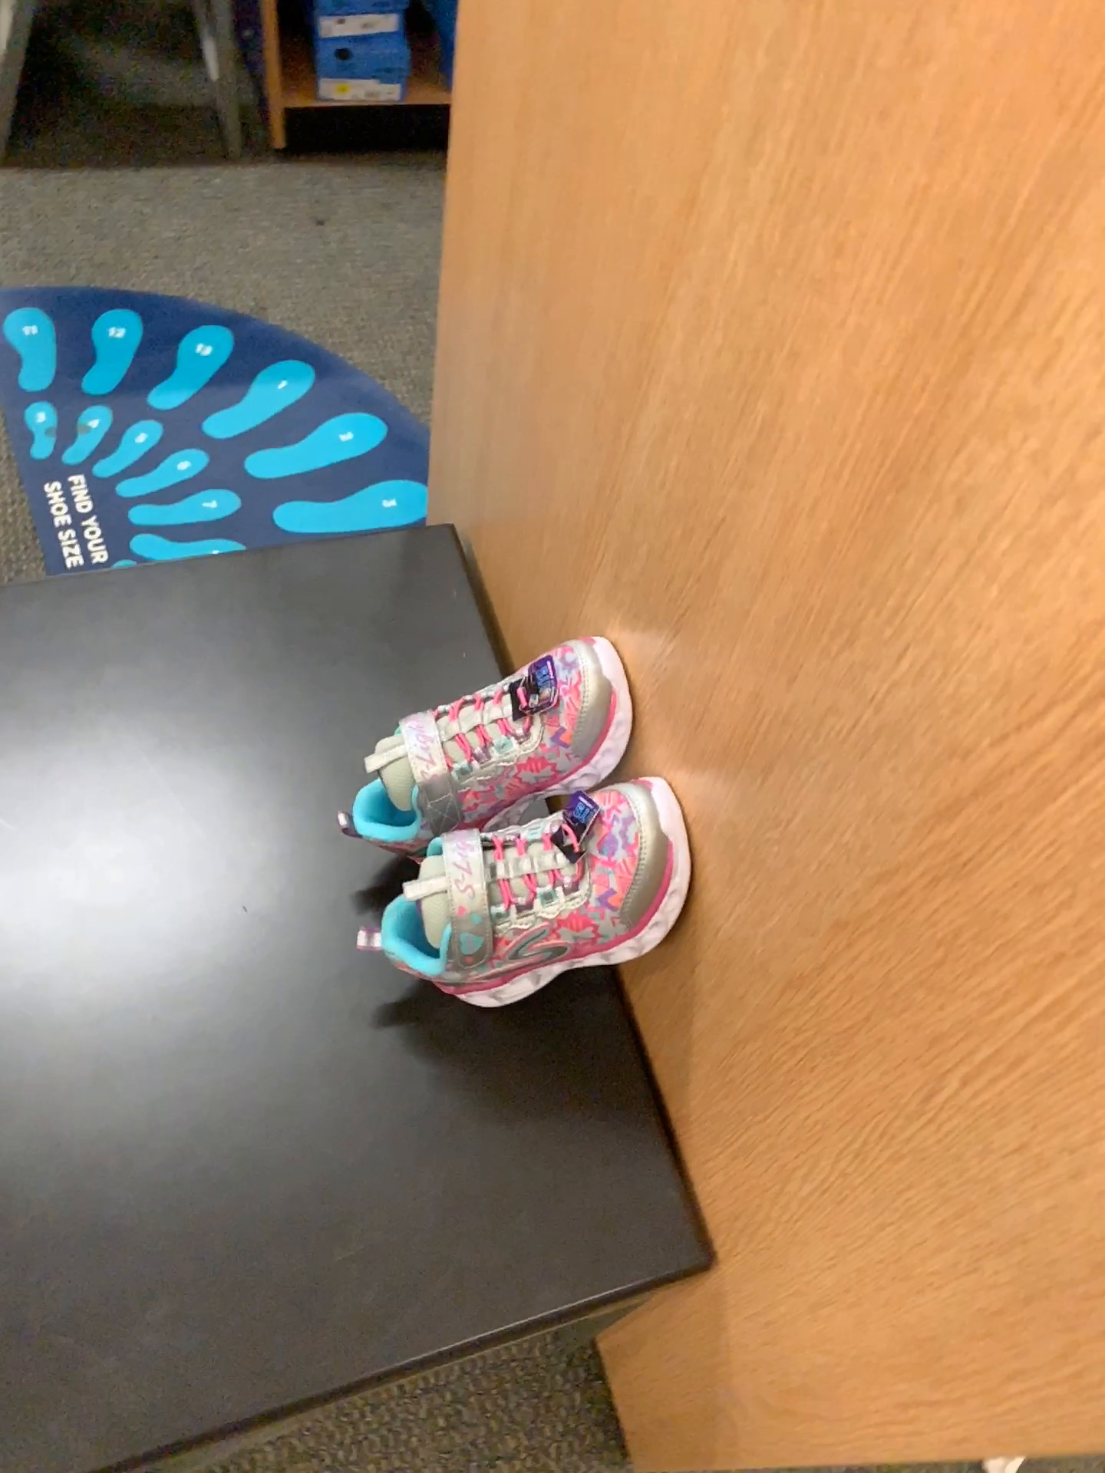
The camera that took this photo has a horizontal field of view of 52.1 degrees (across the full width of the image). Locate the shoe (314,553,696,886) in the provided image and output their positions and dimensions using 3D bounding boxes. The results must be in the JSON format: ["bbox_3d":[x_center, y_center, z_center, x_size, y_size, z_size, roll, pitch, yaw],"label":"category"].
[{"bbox_3d":[-0.031,-0.001,0.641,0.100,0.180,0.090,16,46,-49],"label":"shoe"}]

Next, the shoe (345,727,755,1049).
[{"bbox_3d":[-0.007,0.088,0.597,0.100,0.180,0.090,19,46,-47],"label":"shoe"}]
